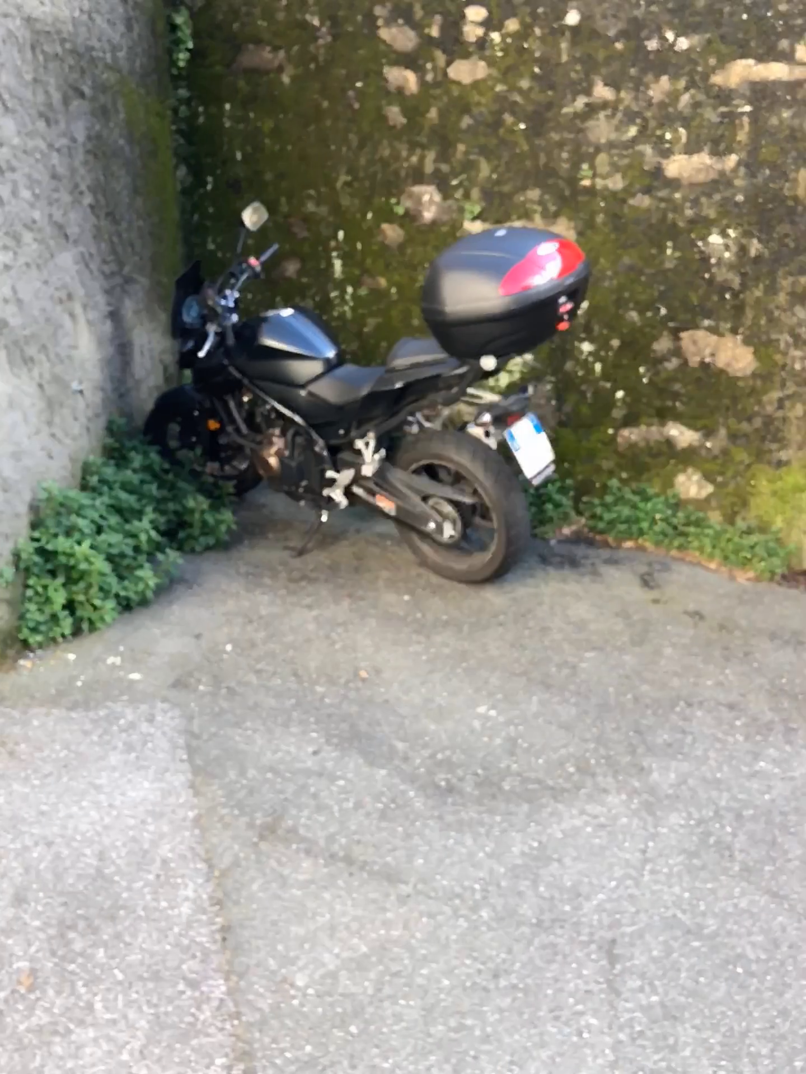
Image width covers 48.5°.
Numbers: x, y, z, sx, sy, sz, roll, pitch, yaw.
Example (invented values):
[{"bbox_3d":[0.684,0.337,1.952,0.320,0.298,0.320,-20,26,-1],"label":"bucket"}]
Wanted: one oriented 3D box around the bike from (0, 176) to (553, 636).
[{"bbox_3d":[-0.468,-0.588,3.352,1.785,1.198,0.713,15,23,25],"label":"bike"}]
